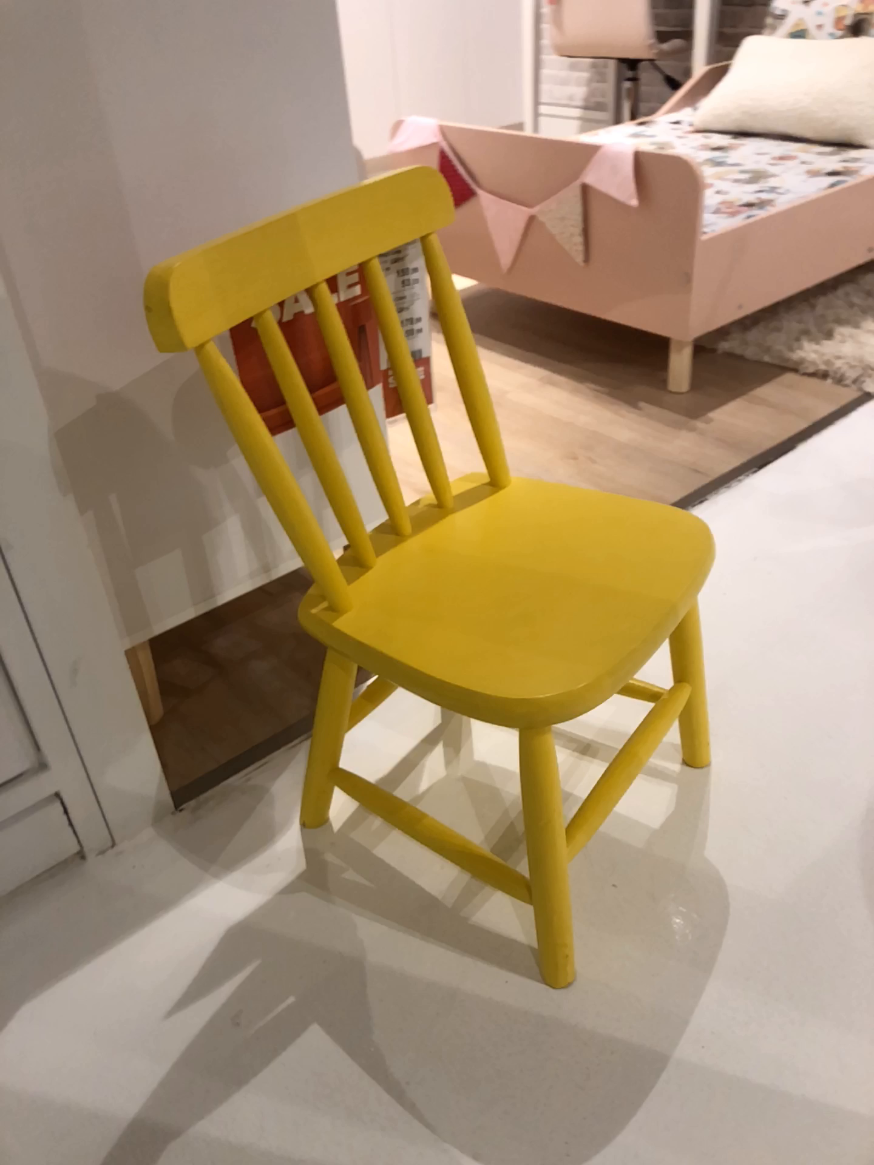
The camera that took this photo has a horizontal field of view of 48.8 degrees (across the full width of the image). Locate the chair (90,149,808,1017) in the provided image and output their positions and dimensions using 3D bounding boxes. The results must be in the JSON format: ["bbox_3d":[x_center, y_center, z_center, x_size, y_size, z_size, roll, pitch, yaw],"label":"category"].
[{"bbox_3d":[0.045,-0.026,0.849,0.371,0.575,0.382,16,39,29],"label":"chair"}]
